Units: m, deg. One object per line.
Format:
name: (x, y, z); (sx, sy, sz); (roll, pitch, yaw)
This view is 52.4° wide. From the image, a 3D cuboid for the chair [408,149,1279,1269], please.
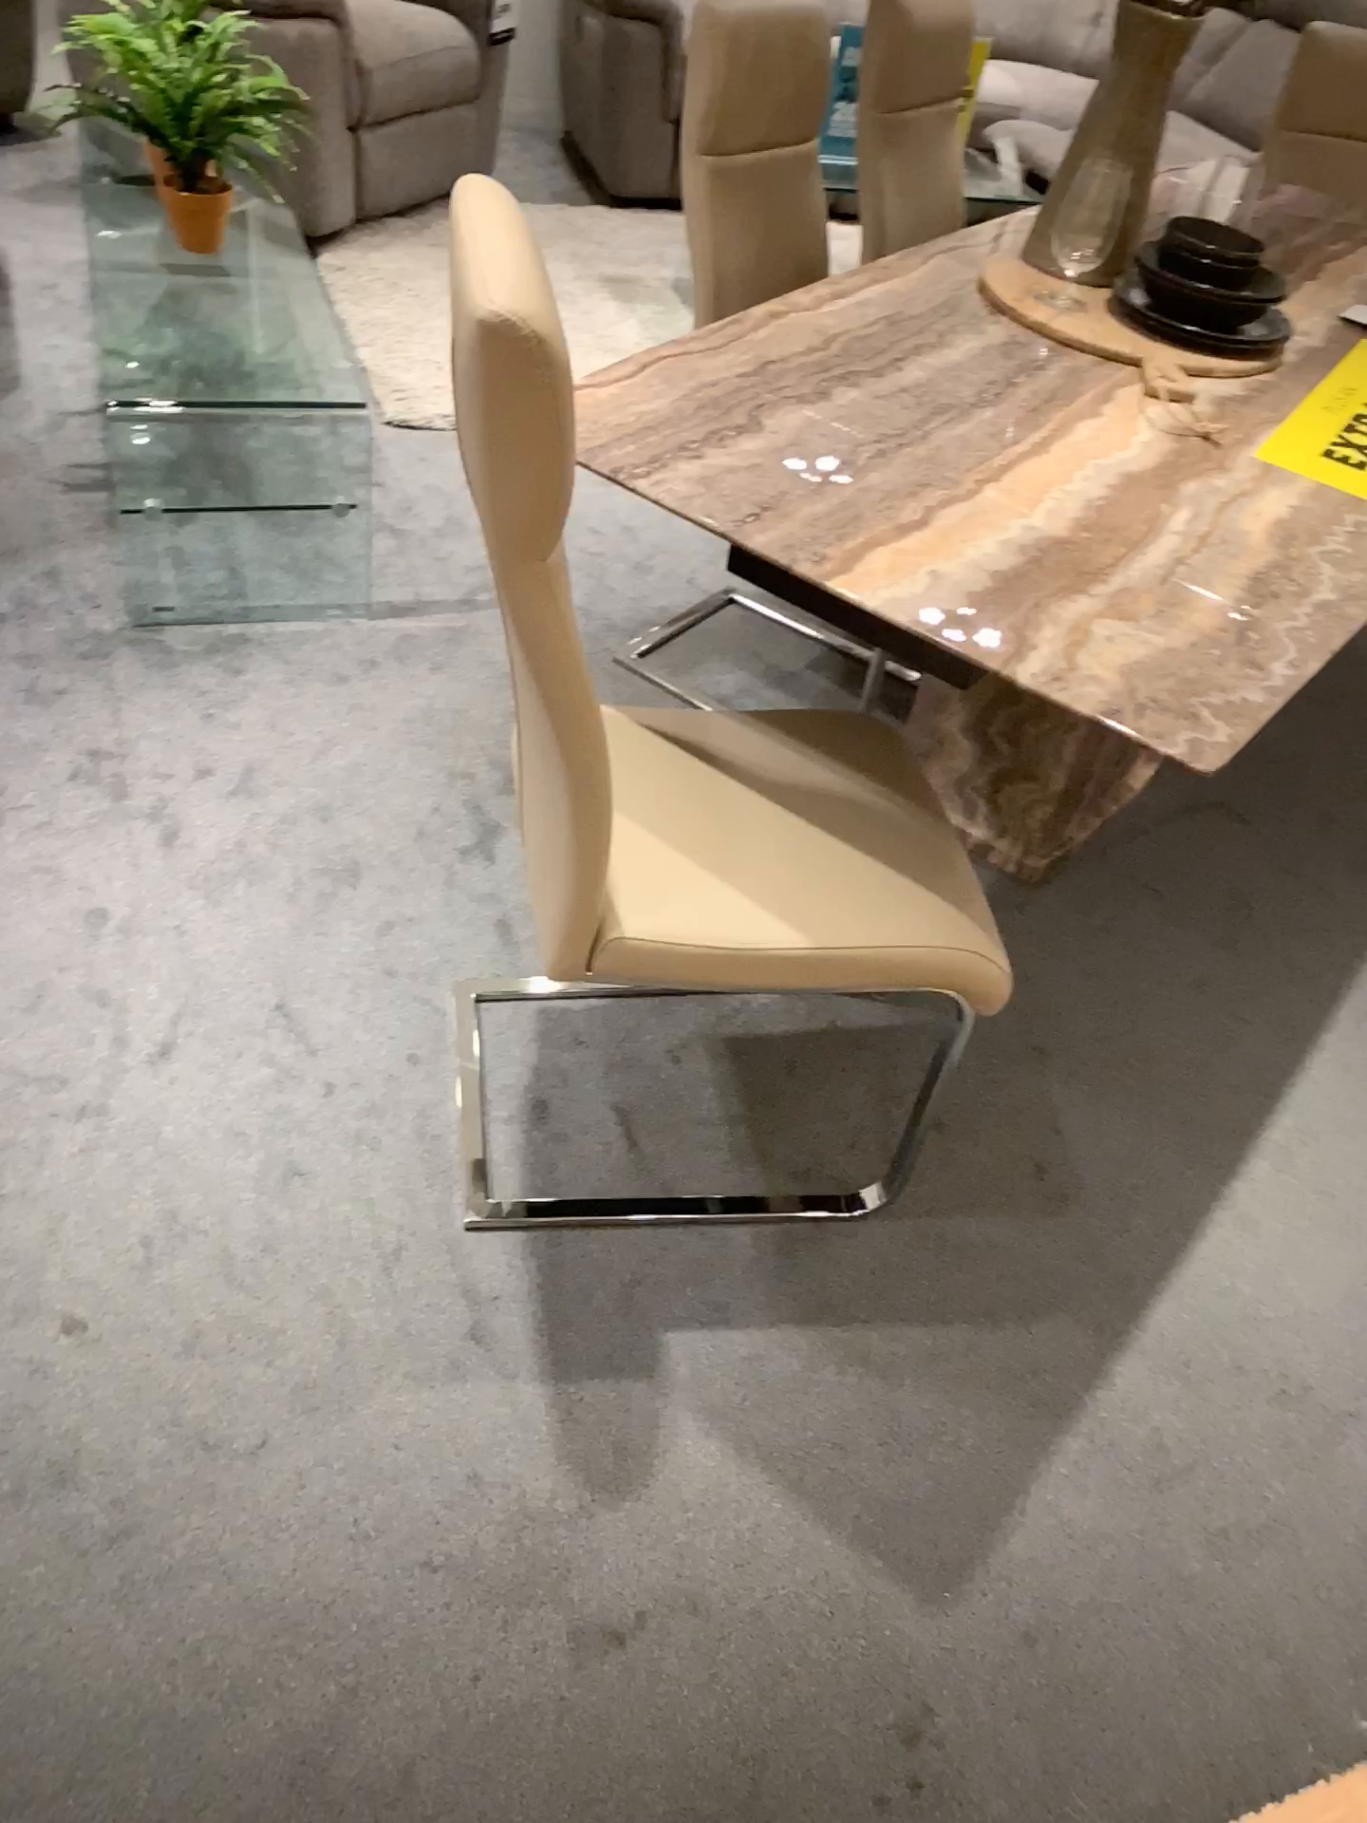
chair: (0.029, -0.135, 1.410); (0.569, 0.974, 0.478); (1, 42, -13)
